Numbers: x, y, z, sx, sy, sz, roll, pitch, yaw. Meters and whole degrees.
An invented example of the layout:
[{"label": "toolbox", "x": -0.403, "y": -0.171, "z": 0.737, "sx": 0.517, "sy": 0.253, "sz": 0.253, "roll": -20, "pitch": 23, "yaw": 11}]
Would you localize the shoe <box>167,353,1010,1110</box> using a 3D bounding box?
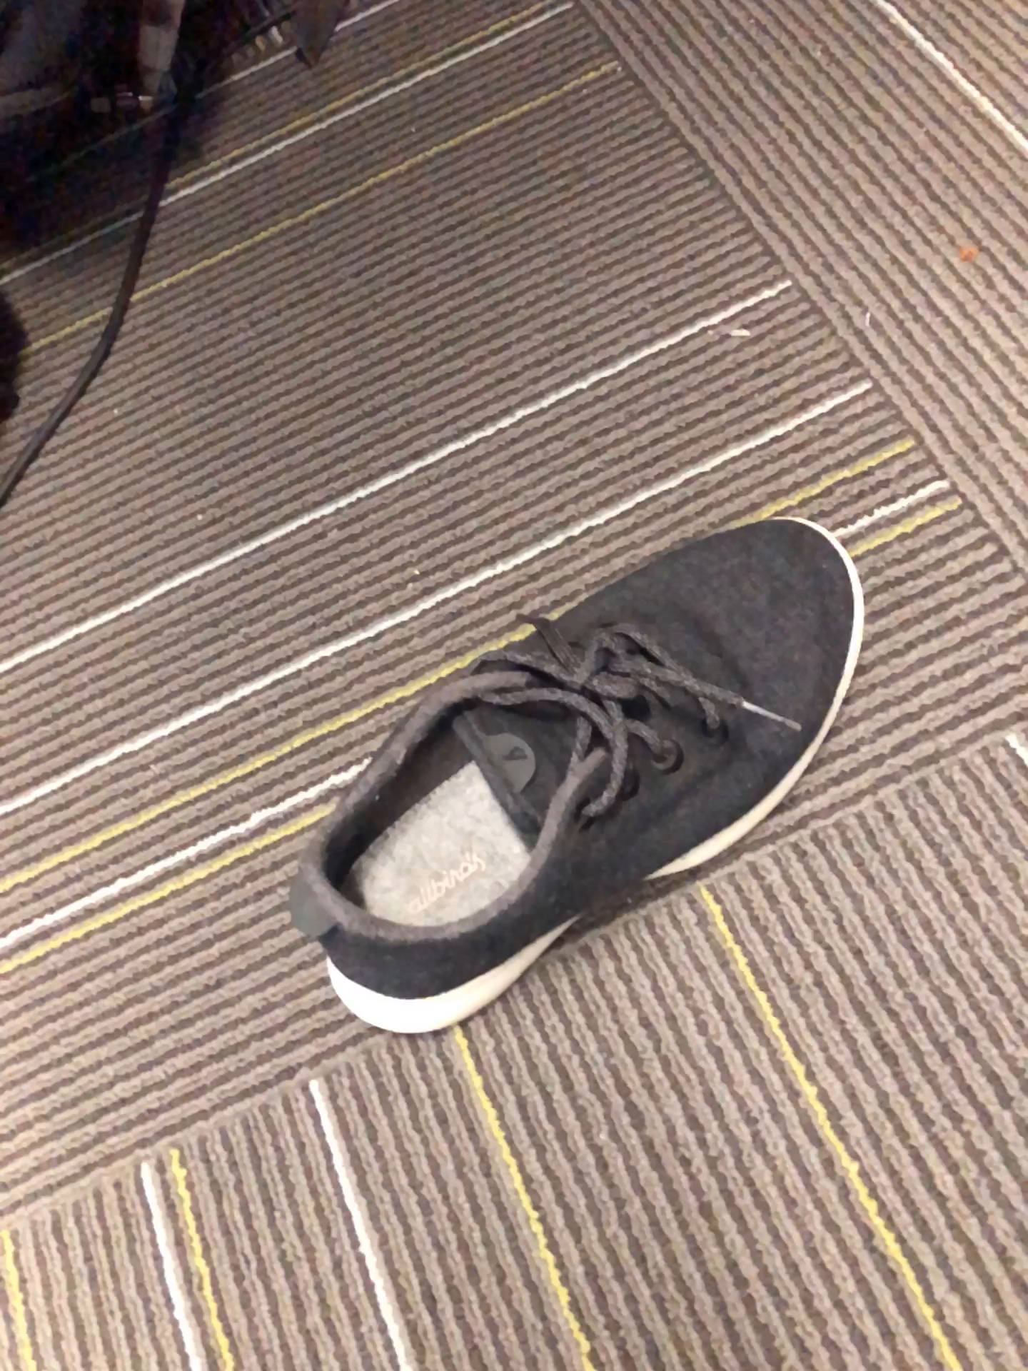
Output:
[{"label": "shoe", "x": 0.027, "y": 0.014, "z": 0.415, "sx": 0.270, "sy": 0.070, "sz": 0.120, "roll": -38, "pitch": 63, "yaw": -6}]
